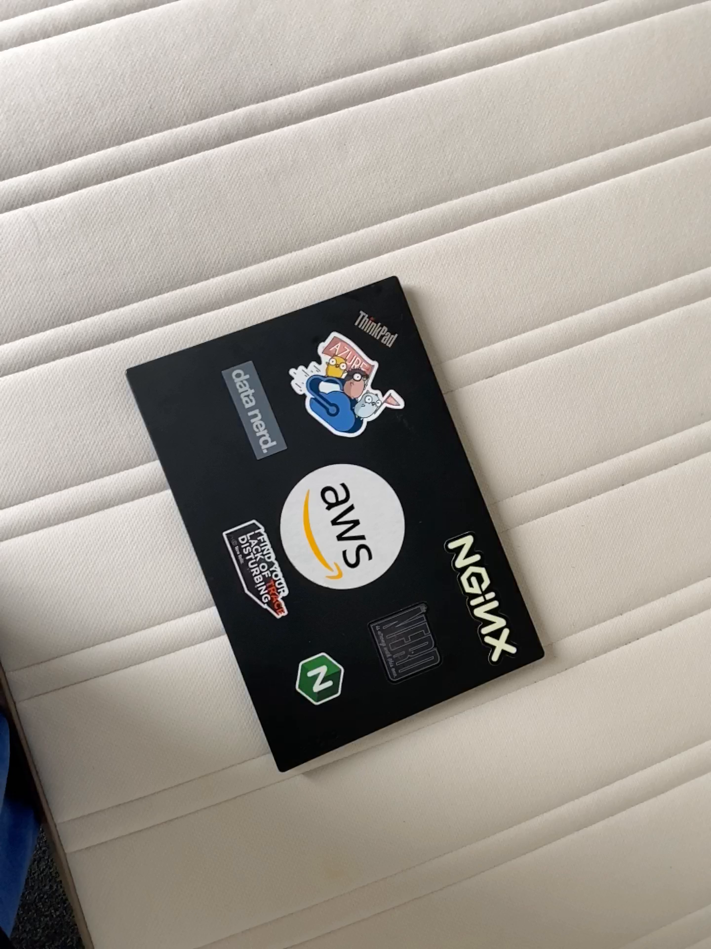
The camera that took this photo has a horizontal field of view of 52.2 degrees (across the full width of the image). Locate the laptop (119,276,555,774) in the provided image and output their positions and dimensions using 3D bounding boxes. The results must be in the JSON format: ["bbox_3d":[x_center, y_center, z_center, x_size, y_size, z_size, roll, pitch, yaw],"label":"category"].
[{"bbox_3d":[-0.010,0.030,0.554,0.224,0.014,0.322,-21,88,-10],"label":"laptop"}]
